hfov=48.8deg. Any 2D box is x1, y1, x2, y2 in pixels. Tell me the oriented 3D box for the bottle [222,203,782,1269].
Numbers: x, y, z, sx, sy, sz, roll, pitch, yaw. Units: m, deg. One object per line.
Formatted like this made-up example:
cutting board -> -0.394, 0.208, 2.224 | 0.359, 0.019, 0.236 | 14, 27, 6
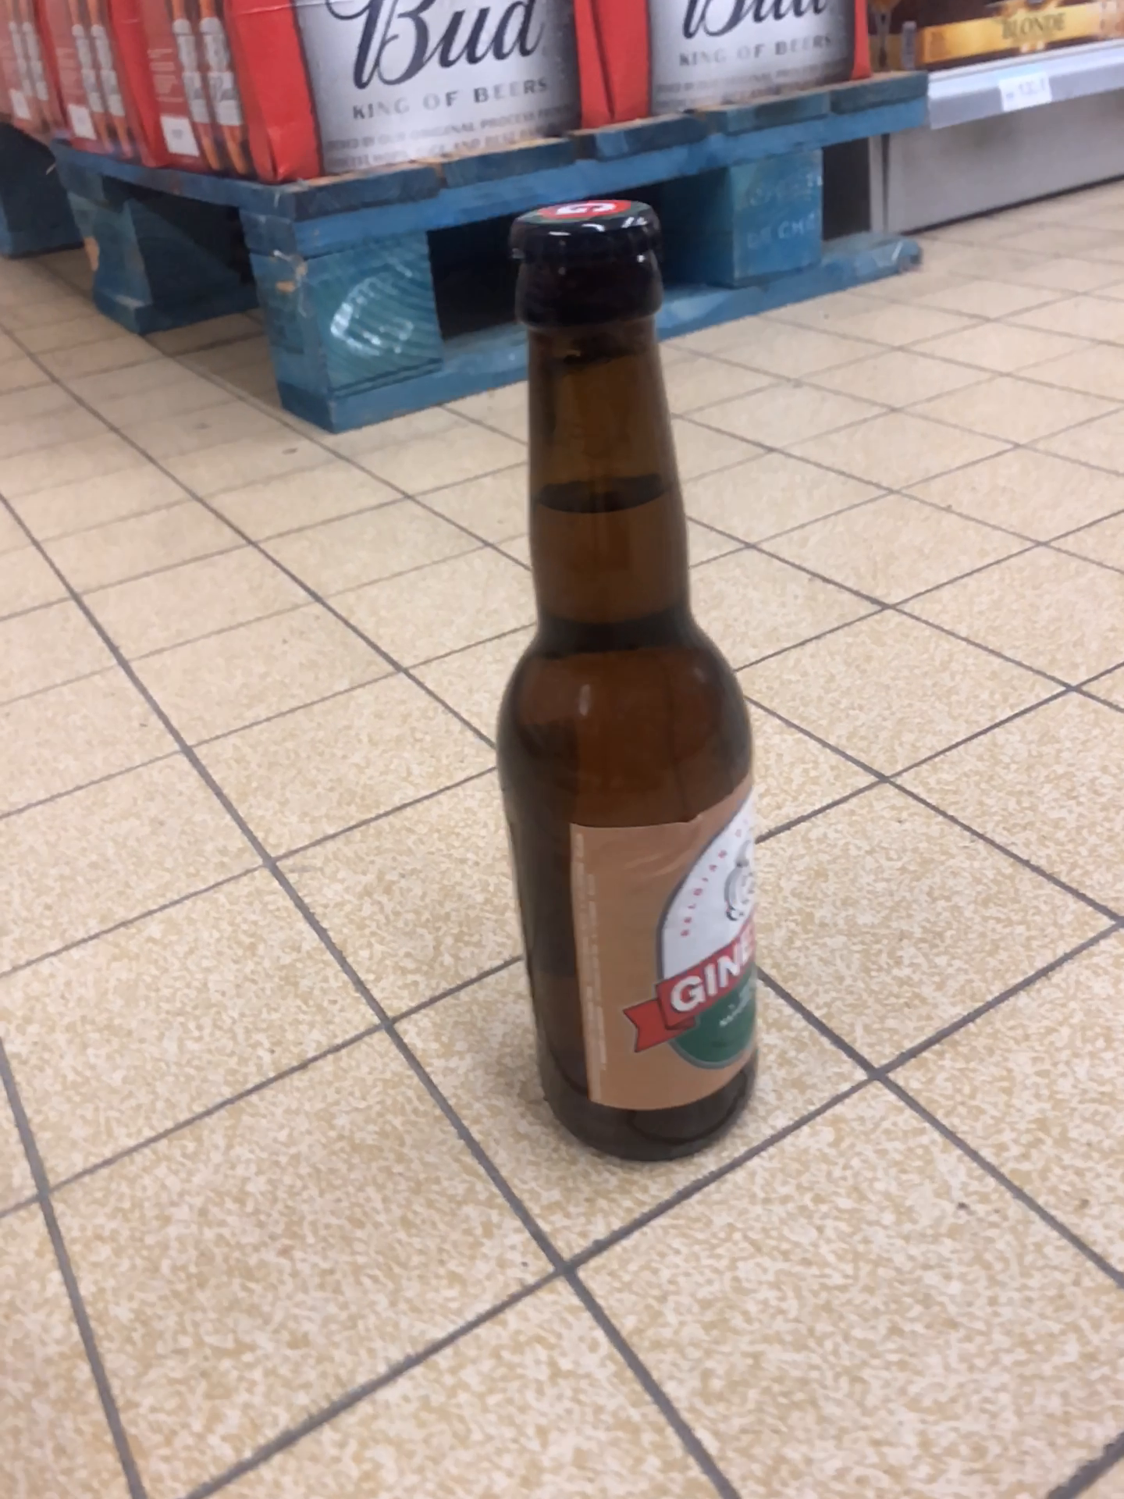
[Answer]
bottle -> 0.002, 0.004, 0.274 | 0.070, 0.219, 0.070 | -5, 31, 3
